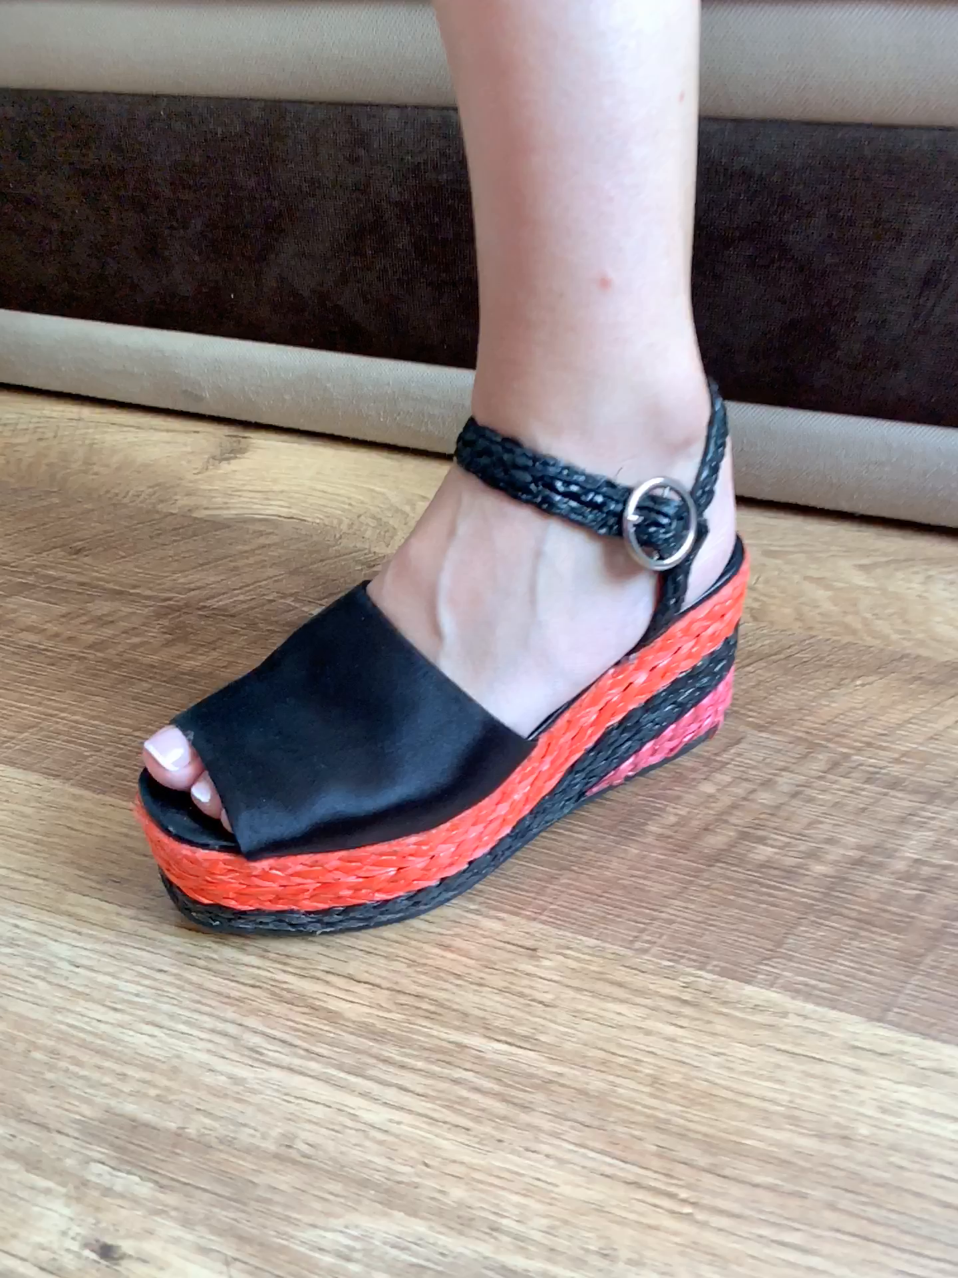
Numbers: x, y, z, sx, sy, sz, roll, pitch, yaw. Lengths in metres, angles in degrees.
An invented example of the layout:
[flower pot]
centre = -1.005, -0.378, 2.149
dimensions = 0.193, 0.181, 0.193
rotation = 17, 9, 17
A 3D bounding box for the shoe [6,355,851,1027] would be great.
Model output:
[shoe]
centre = -0.007, 0.005, 0.334
dimensions = 0.240, 0.124, 0.089
rotation = -21, 43, -22
